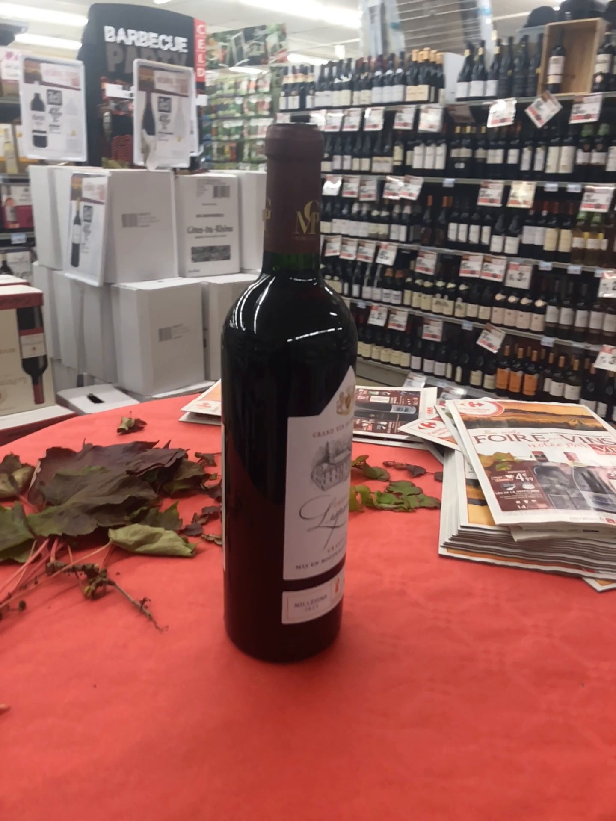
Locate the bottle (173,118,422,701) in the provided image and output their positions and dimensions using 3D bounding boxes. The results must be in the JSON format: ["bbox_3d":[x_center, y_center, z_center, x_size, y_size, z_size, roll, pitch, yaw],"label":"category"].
[{"bbox_3d":[-0.006,-0.001,0.385,0.090,0.299,0.090,1,19,0],"label":"bottle"}]
